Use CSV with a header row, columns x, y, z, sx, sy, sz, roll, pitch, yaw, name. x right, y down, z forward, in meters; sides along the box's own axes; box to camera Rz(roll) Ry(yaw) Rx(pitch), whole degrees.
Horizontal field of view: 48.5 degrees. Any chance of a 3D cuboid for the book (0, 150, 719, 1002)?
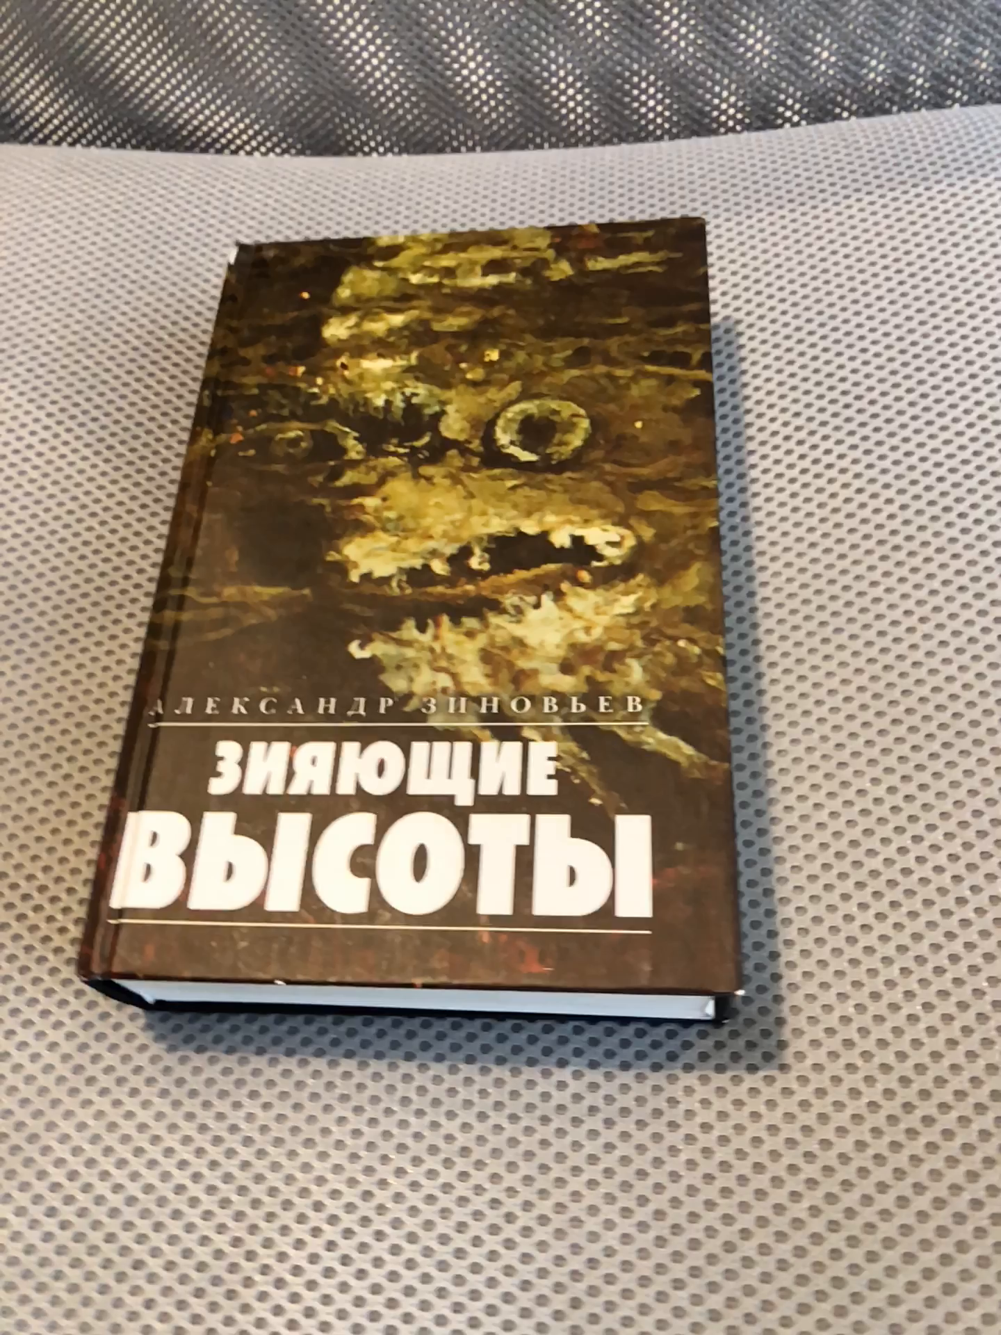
x,y,z,sx,sy,sz,roll,pitch,yaw,name
-0.027,-0.026,0.253,0.140,0.040,0.191,-1,68,6,book
